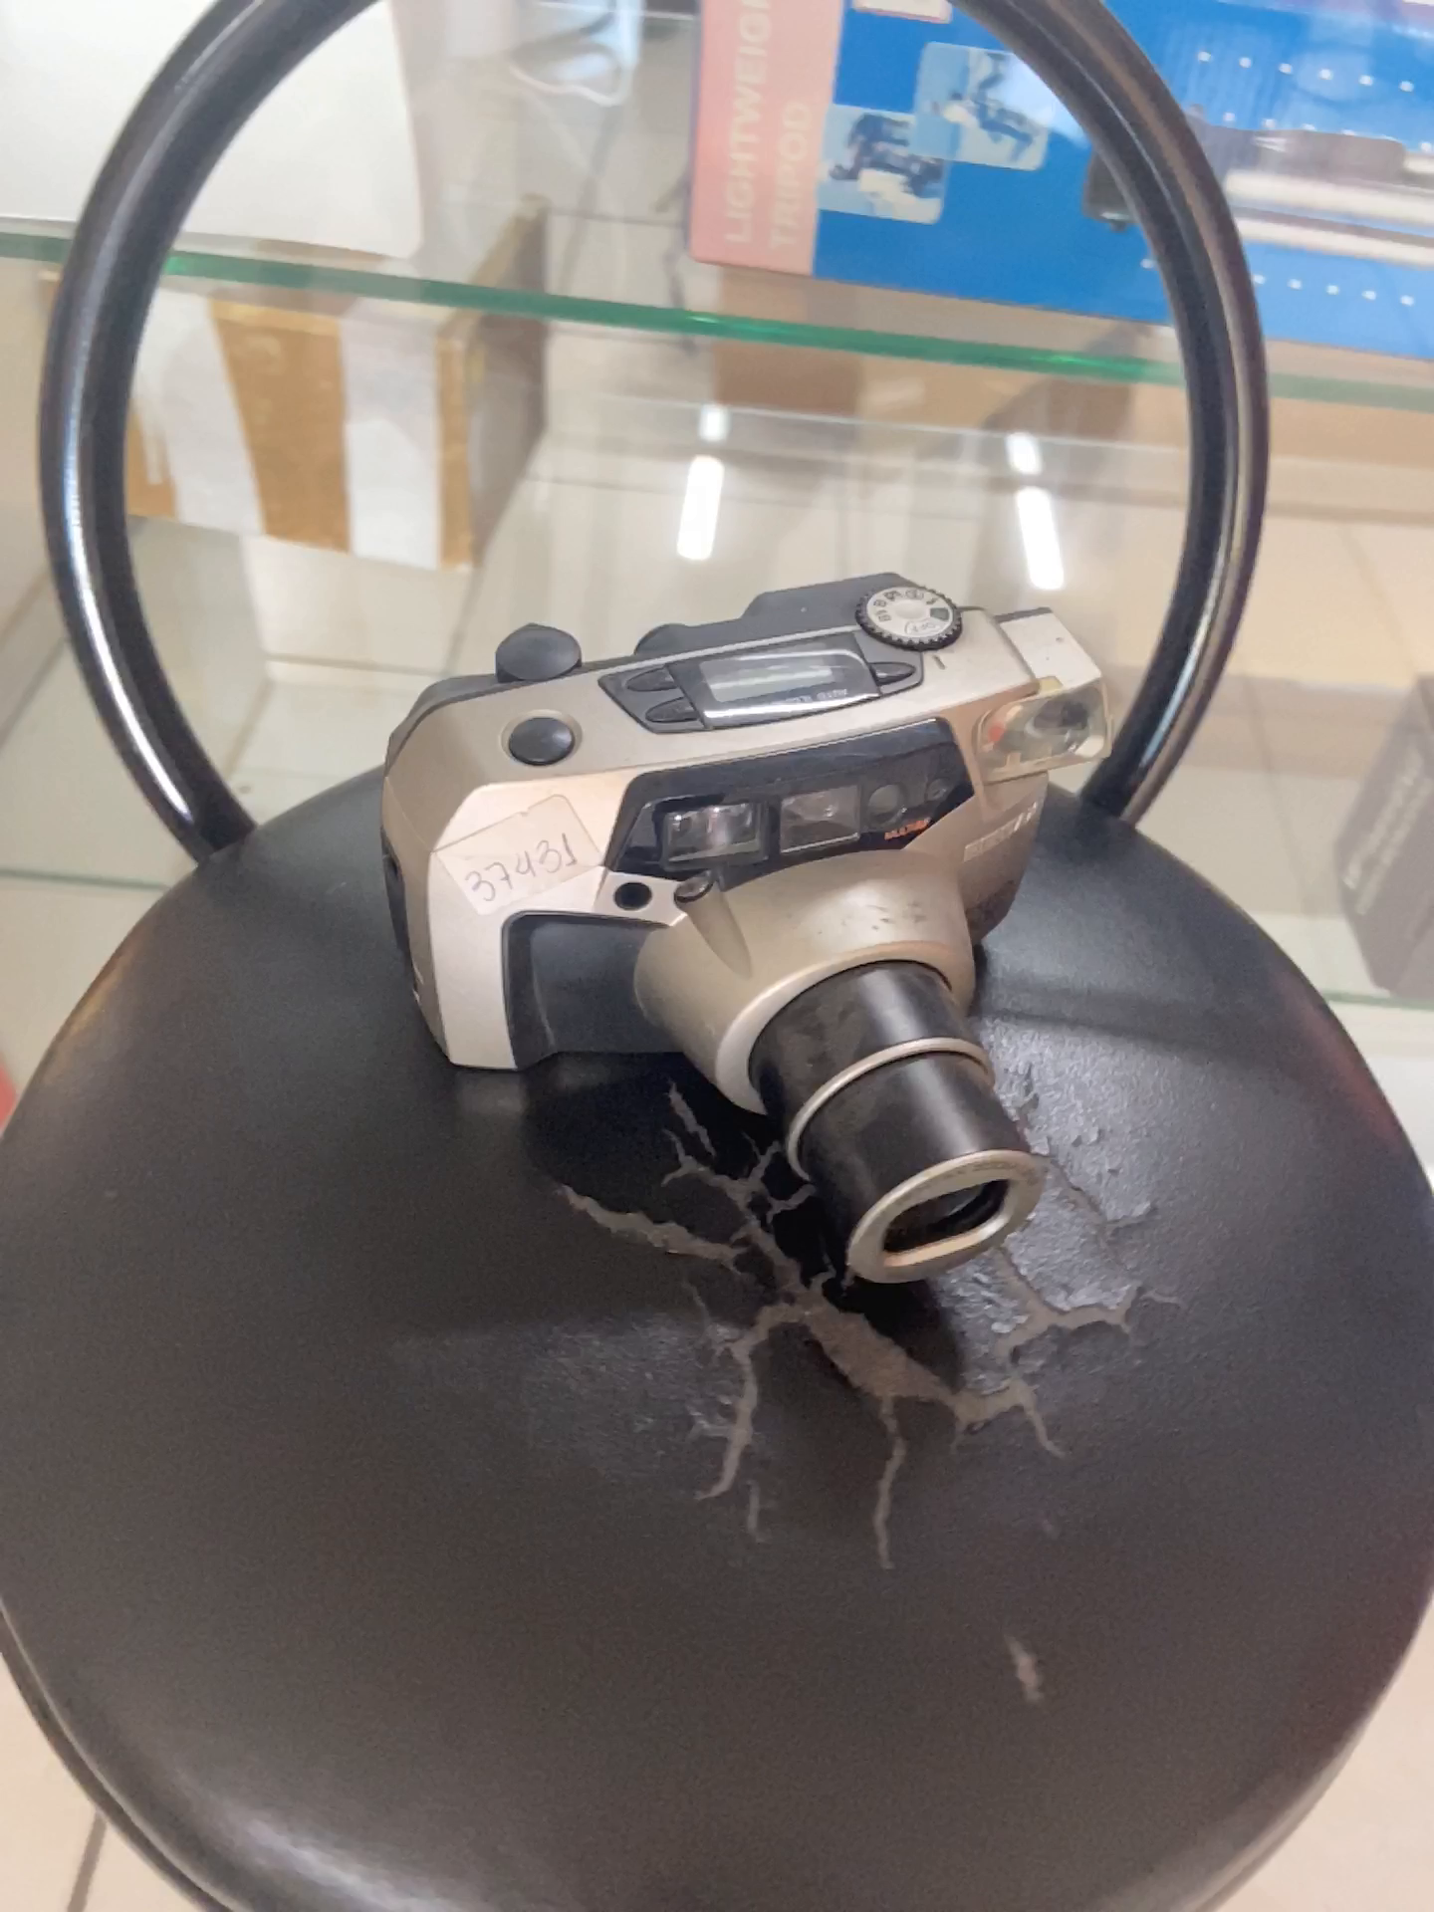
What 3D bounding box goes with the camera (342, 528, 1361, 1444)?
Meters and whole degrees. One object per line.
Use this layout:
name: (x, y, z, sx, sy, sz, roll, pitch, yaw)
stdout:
camera: (0.014, -0.004, 0.276, 0.130, 0.080, 0.121, -15, 49, -19)
